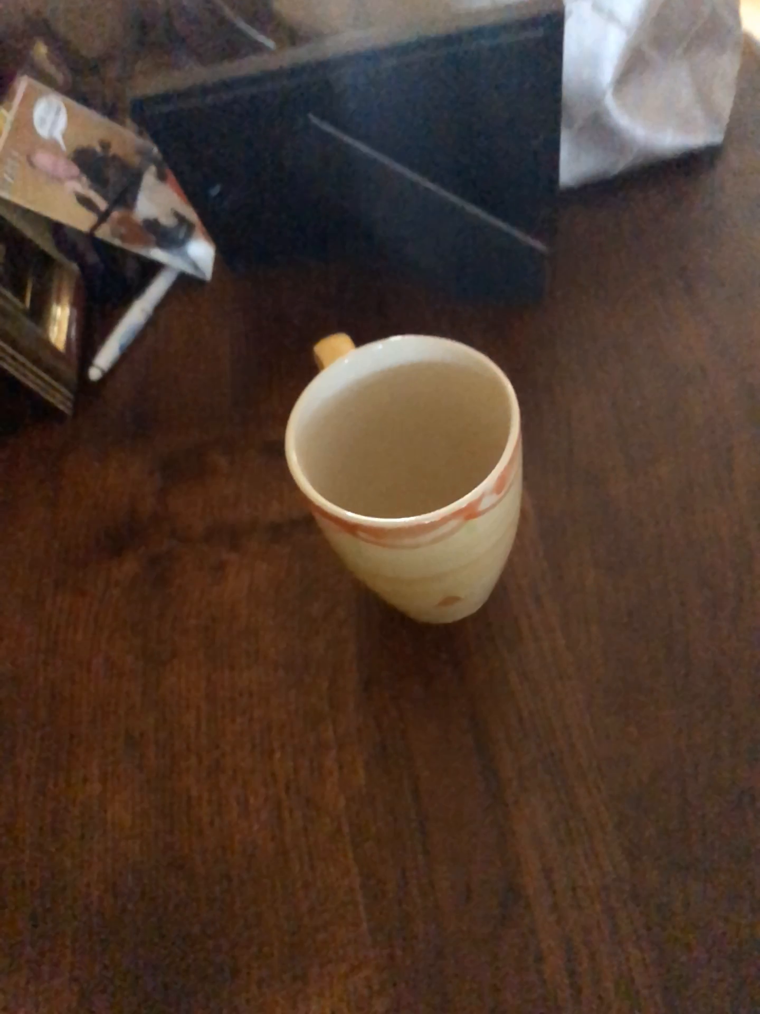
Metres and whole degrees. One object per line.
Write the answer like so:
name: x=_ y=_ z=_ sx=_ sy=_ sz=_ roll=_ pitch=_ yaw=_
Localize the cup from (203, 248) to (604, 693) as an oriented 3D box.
cup: x=0.012 y=-0.015 z=0.352 sx=0.100 sy=0.100 sz=0.120 roll=-32 pitch=58 yaw=-9
